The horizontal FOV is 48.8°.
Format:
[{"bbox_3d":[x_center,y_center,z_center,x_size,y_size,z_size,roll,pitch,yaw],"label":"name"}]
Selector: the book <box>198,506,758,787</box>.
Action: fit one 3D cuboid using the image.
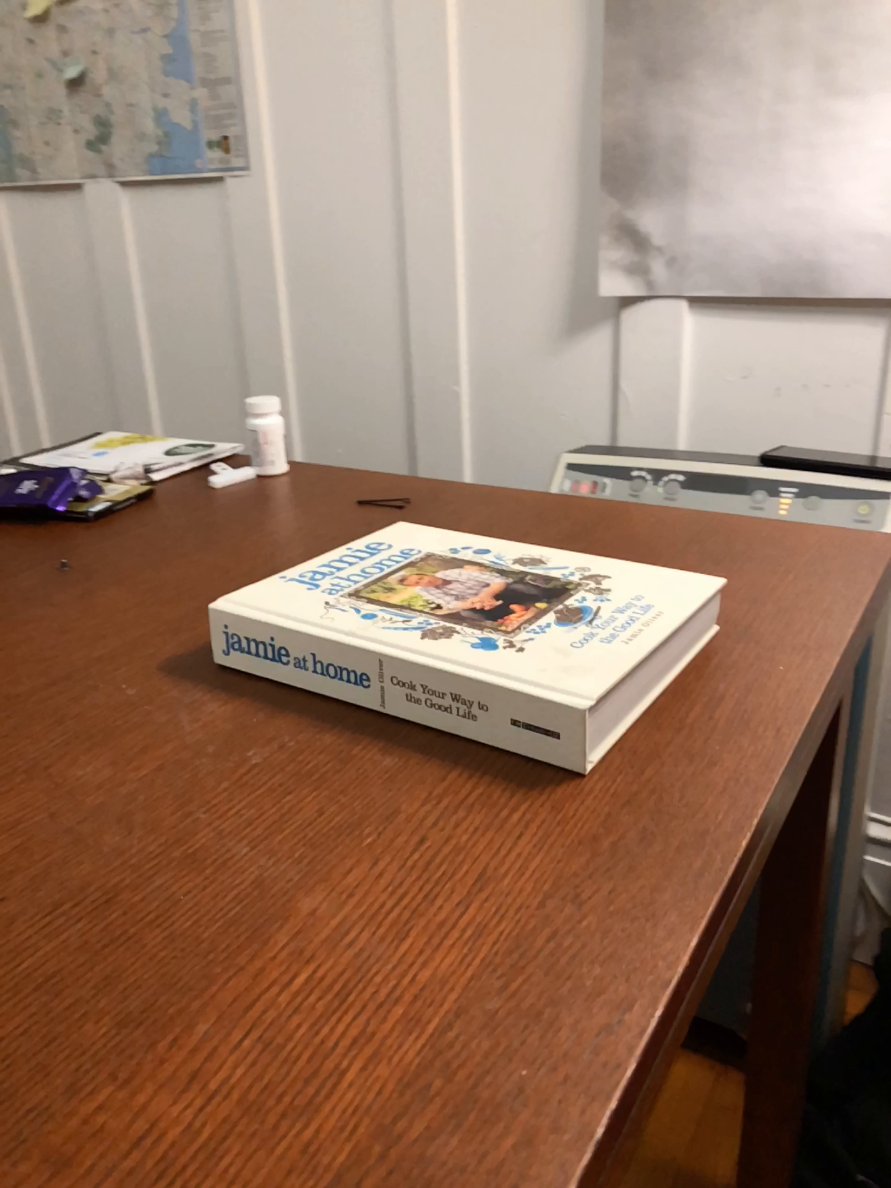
[{"bbox_3d":[0.023,0.011,0.589,0.260,0.040,0.211,12,26,32],"label":"book"}]
